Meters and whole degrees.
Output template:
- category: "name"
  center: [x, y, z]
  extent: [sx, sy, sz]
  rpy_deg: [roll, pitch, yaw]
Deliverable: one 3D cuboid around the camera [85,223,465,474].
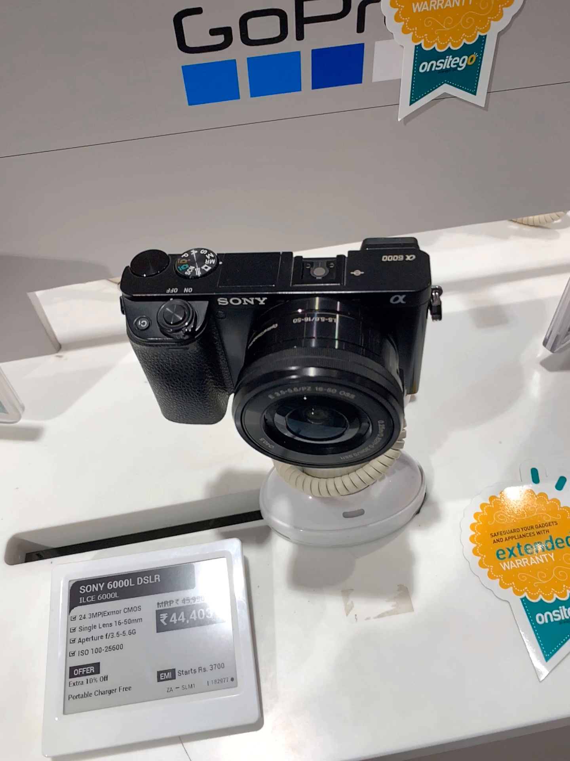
- category: "camera"
  center: [-0.001, -0.008, 0.235]
  extent: [0.120, 0.090, 0.050]
  rpy_deg: [-1, 52, 3]
